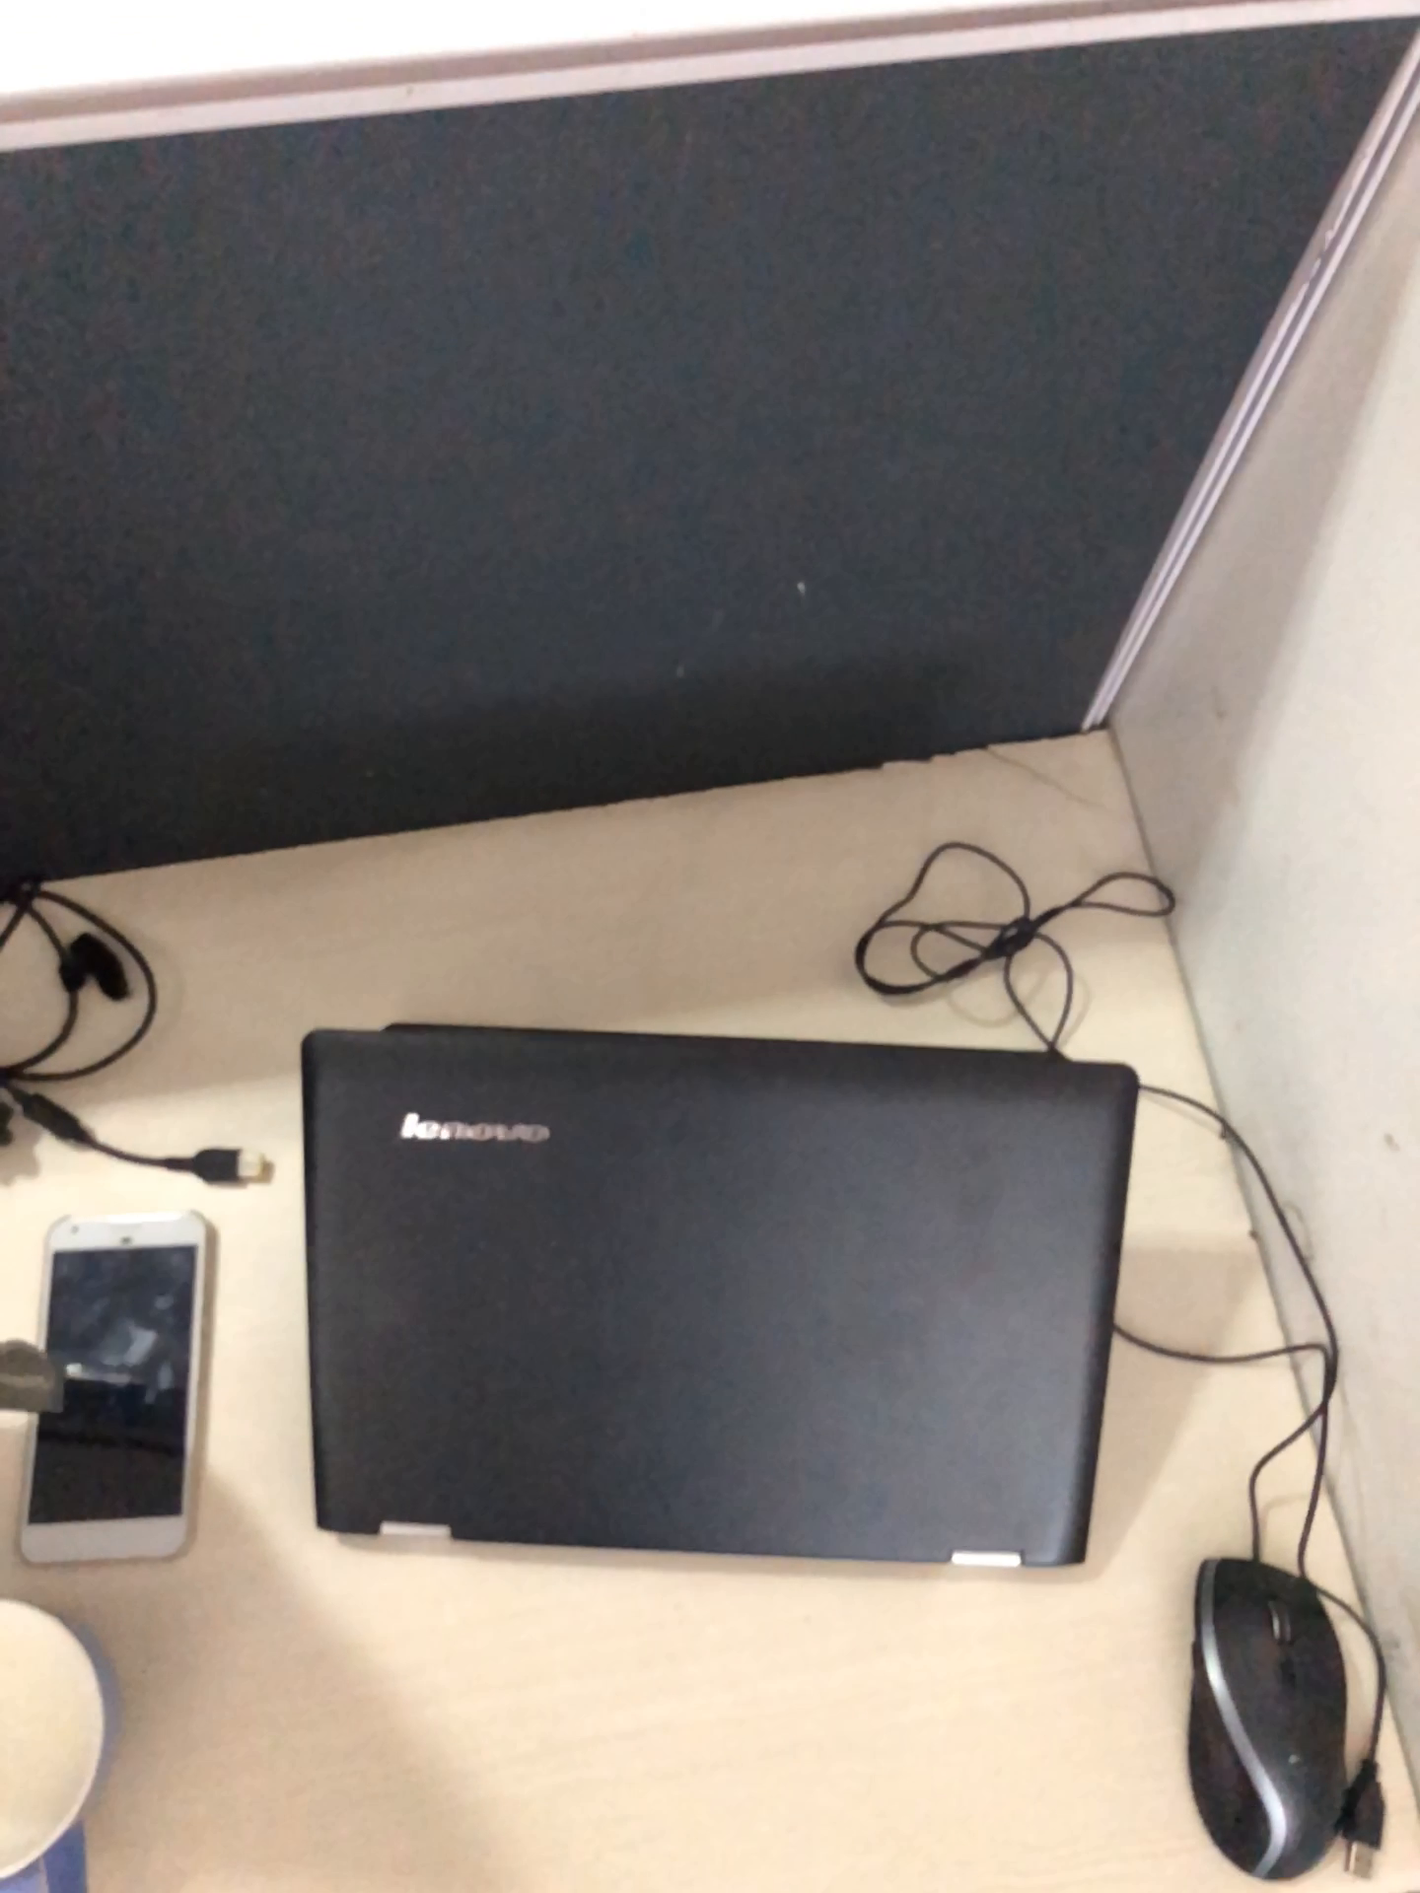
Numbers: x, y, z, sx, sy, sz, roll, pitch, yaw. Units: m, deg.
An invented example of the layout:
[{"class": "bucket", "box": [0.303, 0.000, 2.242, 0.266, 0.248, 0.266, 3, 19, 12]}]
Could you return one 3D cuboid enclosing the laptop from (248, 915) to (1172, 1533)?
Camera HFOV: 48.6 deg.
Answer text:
[{"class": "laptop", "box": [0.002, 0.122, 0.638, 0.323, 0.143, 0.204, 2, 75, 0]}]
